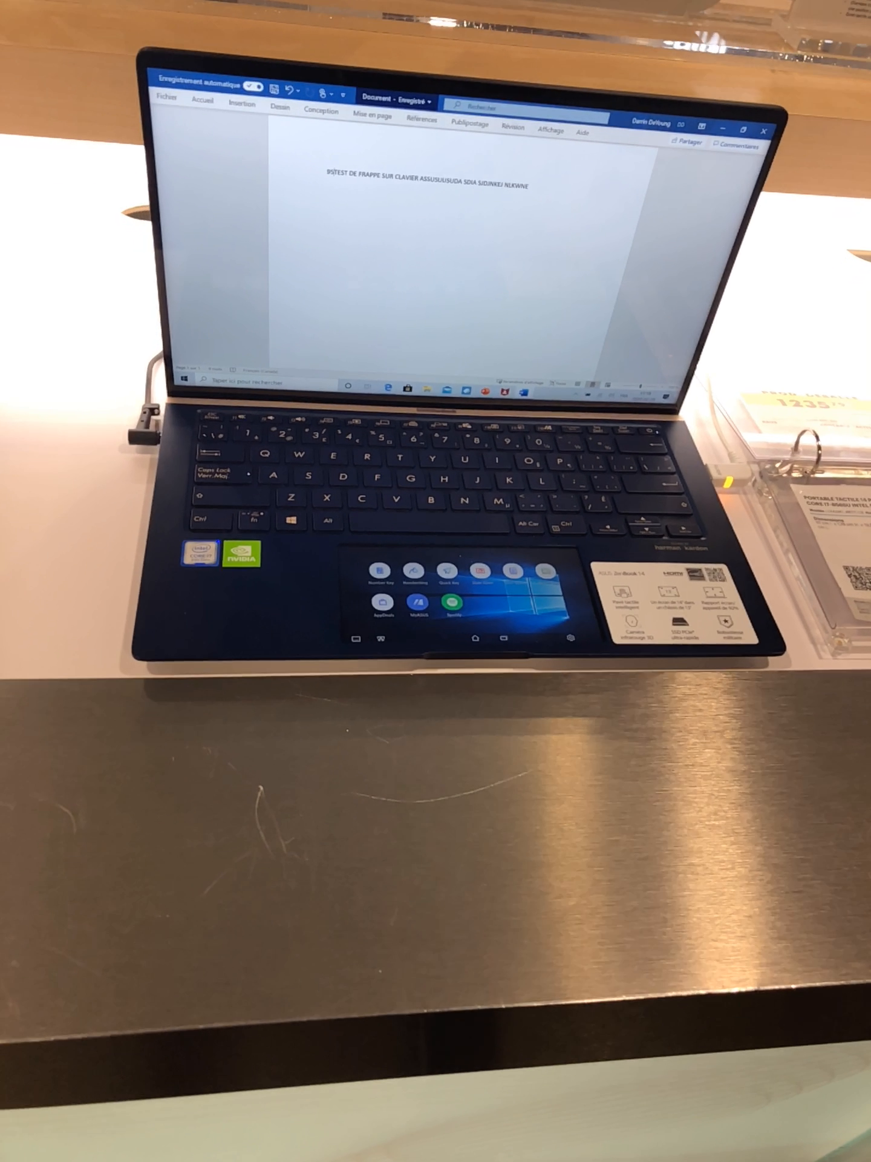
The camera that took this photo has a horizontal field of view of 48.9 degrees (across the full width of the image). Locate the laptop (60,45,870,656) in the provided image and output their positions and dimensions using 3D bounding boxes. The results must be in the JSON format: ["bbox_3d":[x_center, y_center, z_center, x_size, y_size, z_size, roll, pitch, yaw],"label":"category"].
[{"bbox_3d":[0.020,-0.103,0.455,0.317,0.193,0.200,0,46,-9],"label":"laptop"}]
